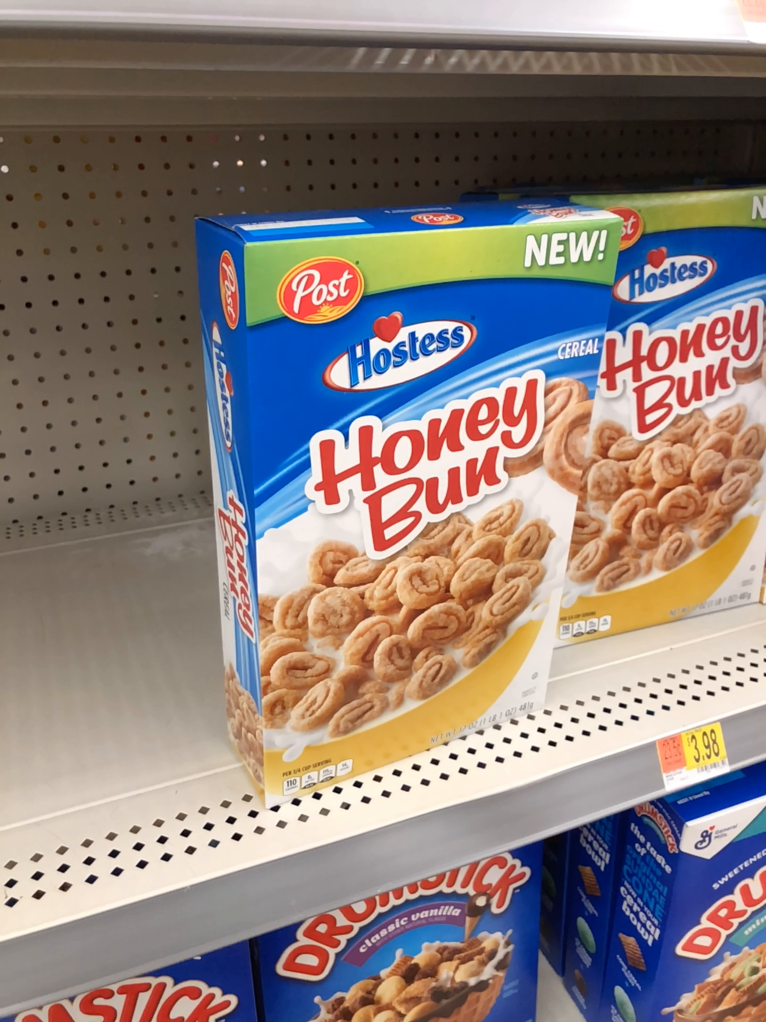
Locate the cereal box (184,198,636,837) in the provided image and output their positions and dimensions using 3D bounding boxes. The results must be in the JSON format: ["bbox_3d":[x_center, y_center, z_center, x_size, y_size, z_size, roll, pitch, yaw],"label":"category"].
[{"bbox_3d":[0.014,0.005,0.452,0.200,0.309,0.060,-13,30,-26],"label":"cereal box"}]
